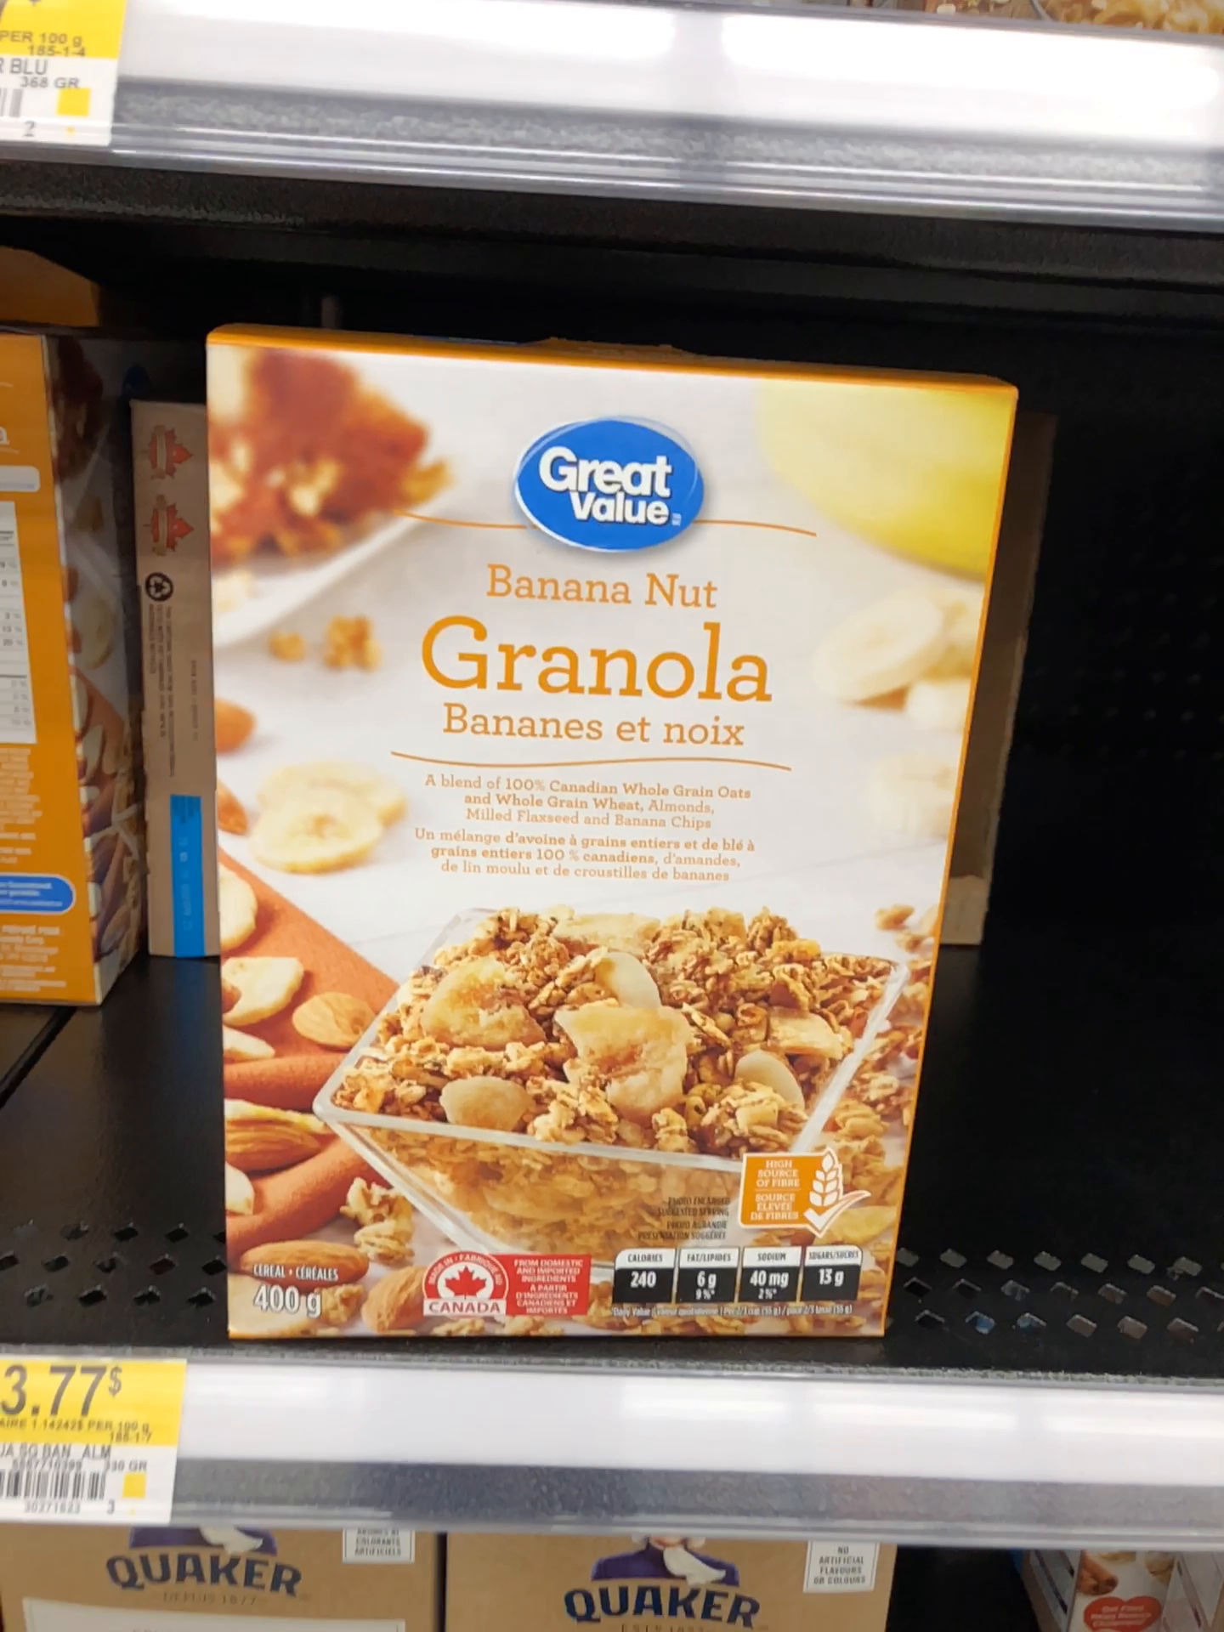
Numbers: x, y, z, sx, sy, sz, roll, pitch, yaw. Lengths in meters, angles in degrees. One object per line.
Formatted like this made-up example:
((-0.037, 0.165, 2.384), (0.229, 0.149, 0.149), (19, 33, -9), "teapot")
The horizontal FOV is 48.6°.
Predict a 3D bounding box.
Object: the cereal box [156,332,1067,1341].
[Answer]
((-0.005, 0.008, 0.299), (0.160, 0.209, 0.060), (2, 19, -4), "cereal box")
